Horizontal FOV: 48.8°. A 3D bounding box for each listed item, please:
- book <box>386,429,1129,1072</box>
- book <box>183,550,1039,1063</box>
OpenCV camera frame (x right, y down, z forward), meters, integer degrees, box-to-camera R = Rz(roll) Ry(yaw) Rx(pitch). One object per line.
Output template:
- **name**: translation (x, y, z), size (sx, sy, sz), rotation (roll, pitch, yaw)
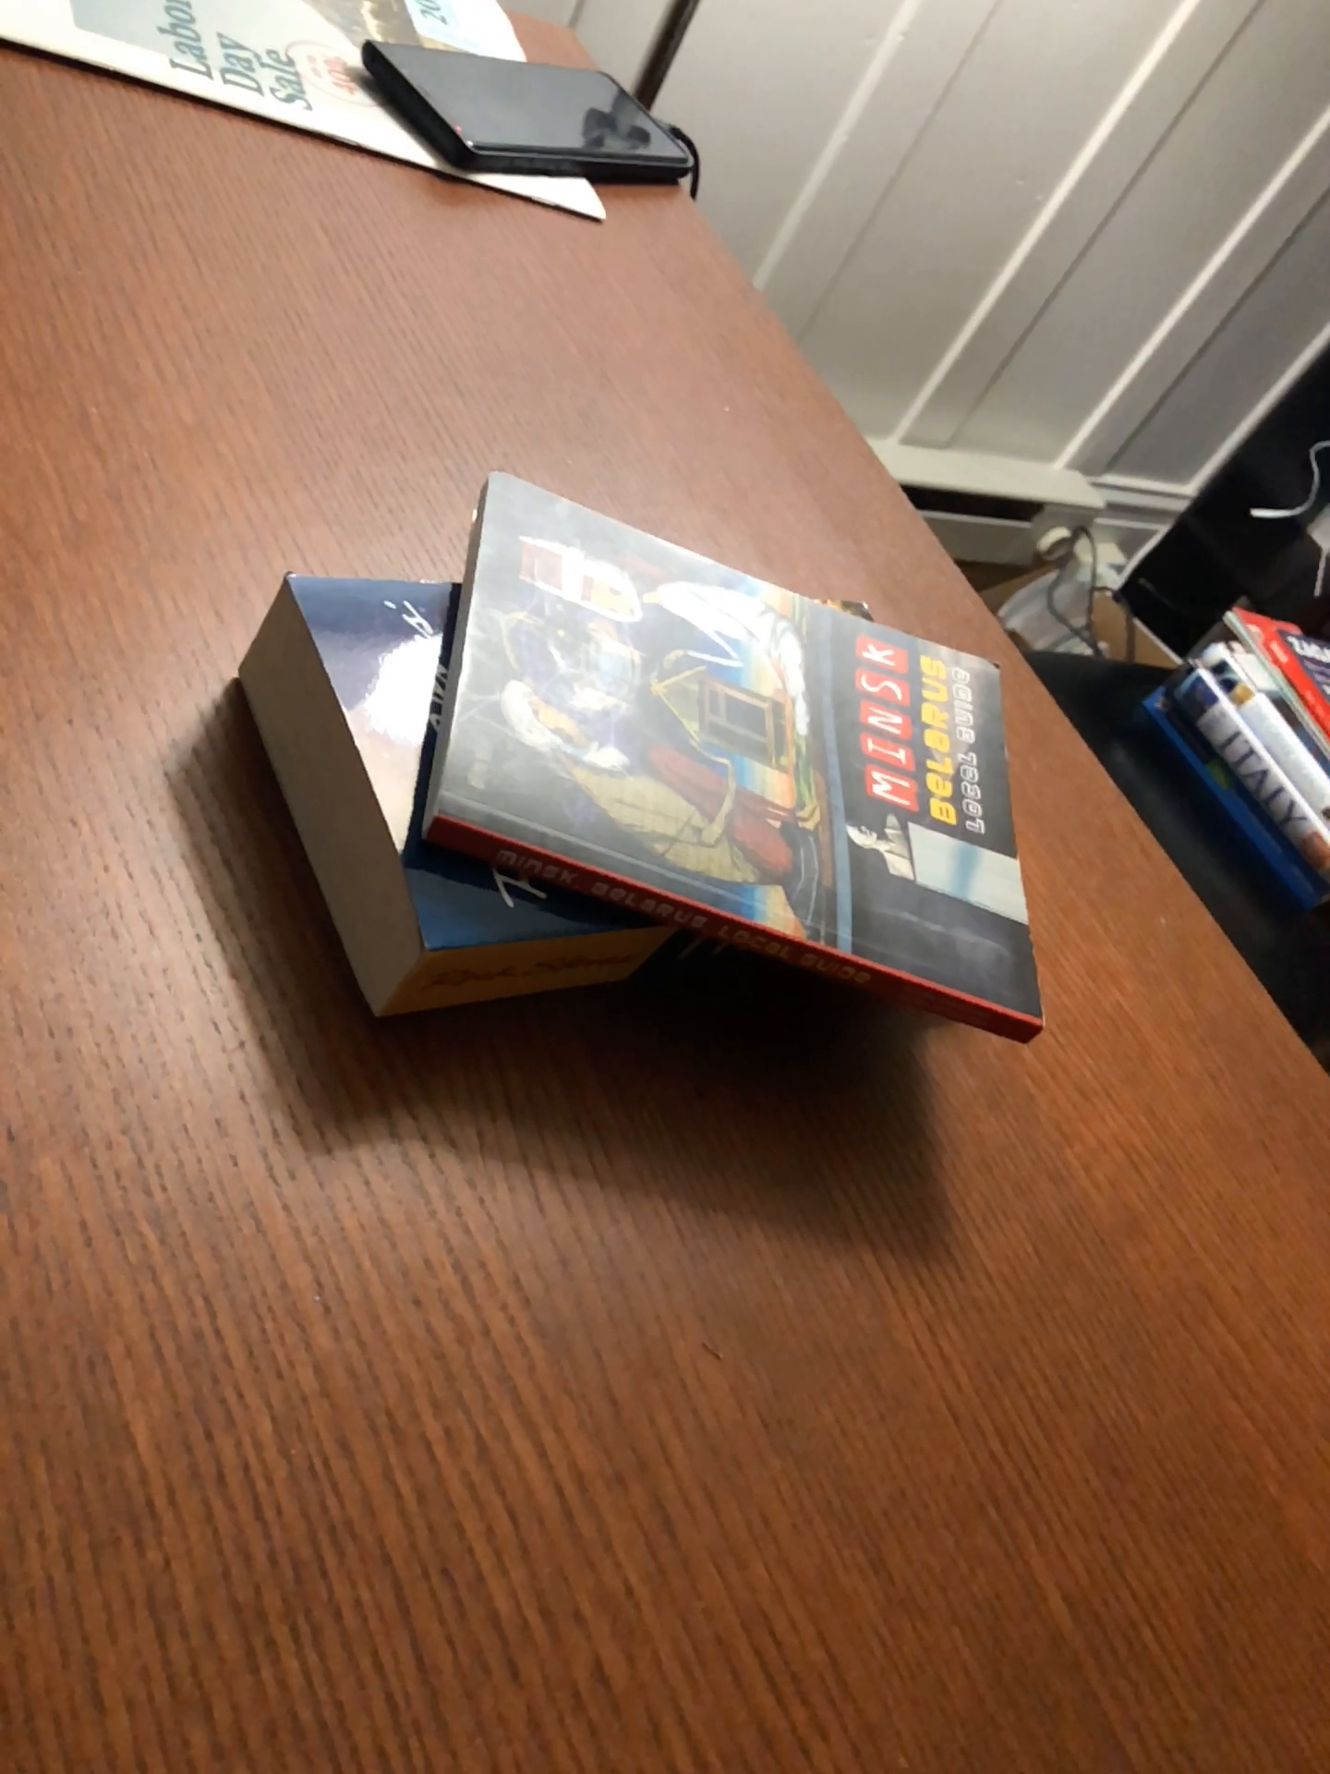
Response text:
- **book**: translation (0.027, -0.039, 0.398), size (0.190, 0.020, 0.151), rotation (17, 45, -20)
- **book**: translation (-0.009, -0.032, 0.426), size (0.221, 0.040, 0.130), rotation (-6, 56, -37)
